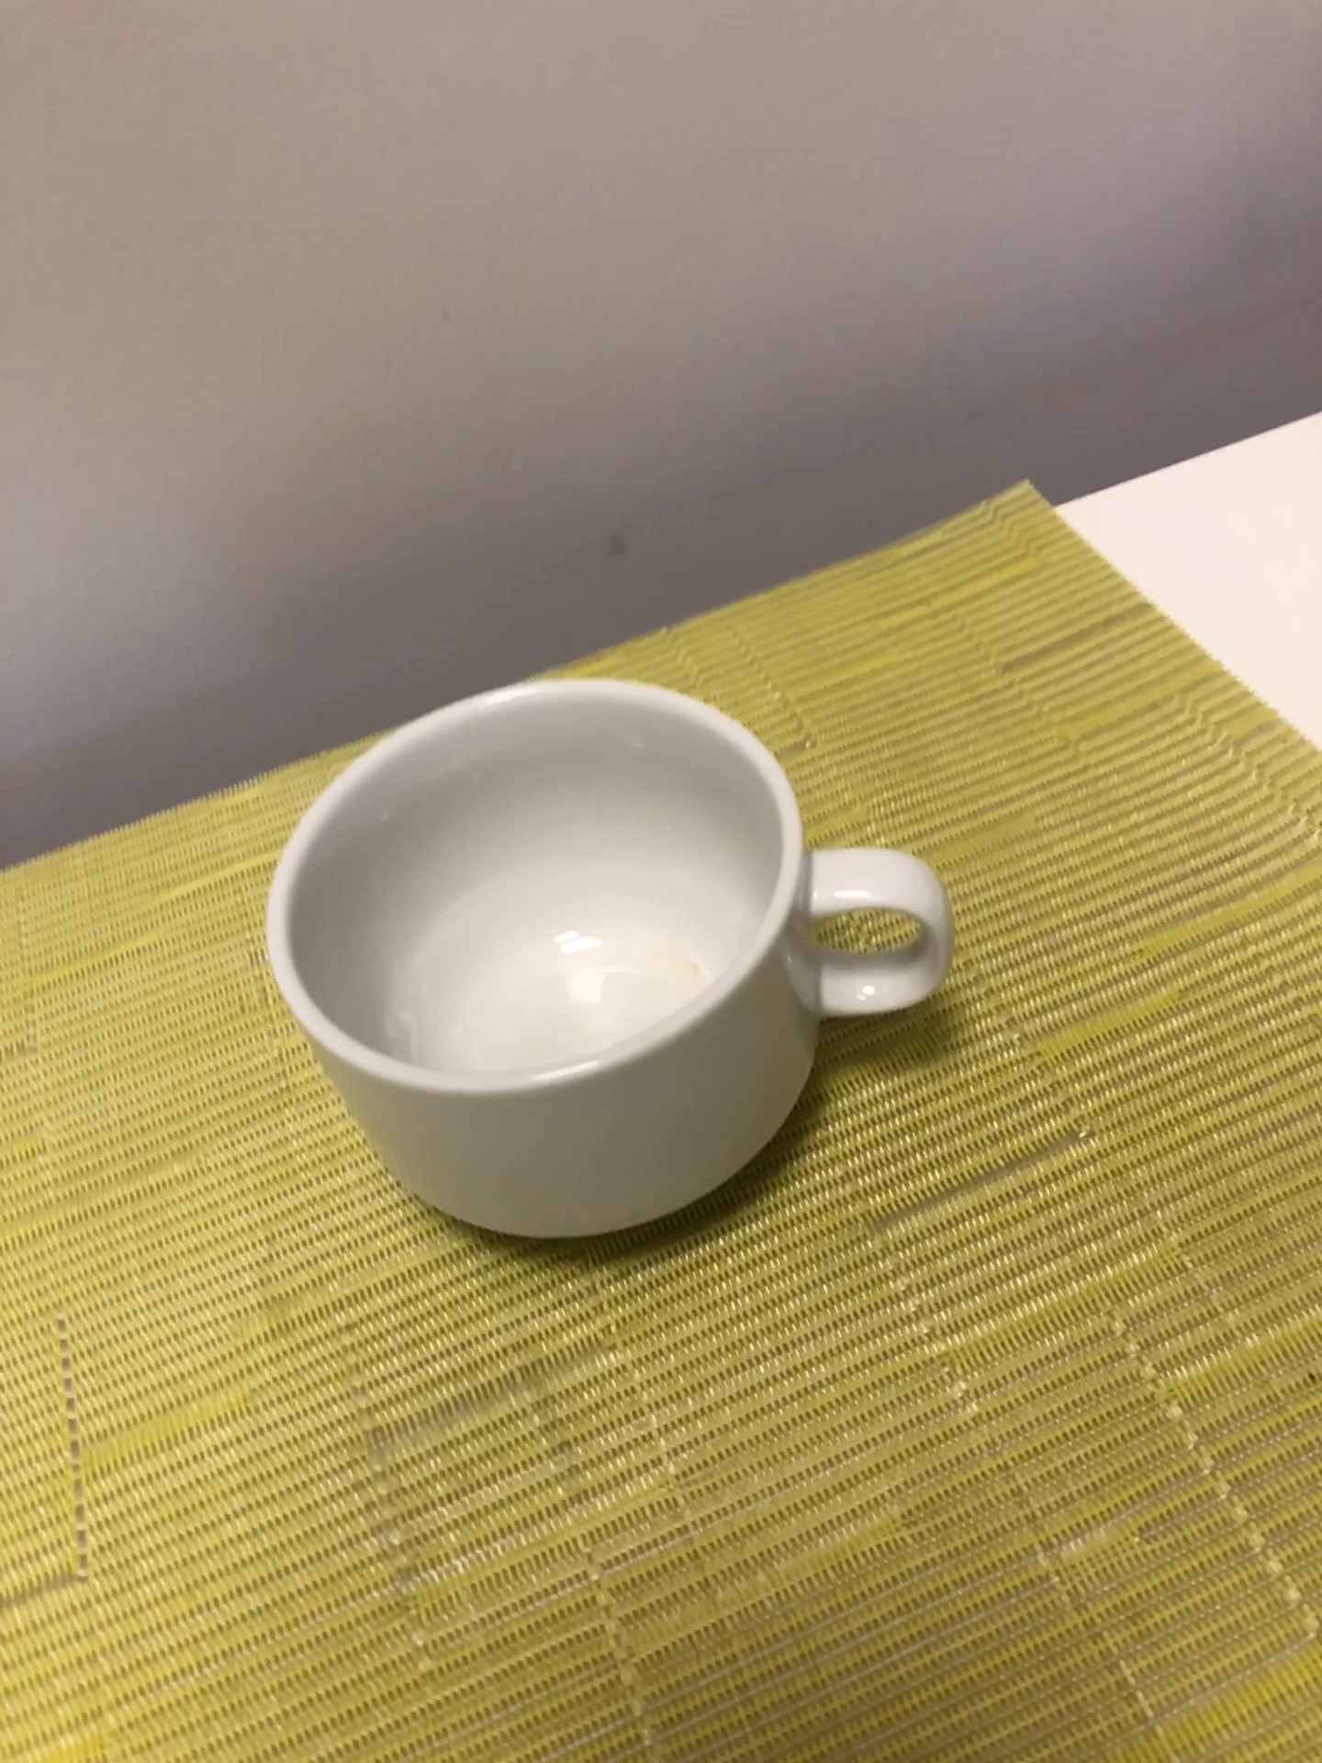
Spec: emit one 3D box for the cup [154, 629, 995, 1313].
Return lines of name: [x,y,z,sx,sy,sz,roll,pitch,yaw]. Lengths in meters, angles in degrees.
cup: [-0.005,0.010,0.245,0.110,0.057,0.086,5,49,17]
